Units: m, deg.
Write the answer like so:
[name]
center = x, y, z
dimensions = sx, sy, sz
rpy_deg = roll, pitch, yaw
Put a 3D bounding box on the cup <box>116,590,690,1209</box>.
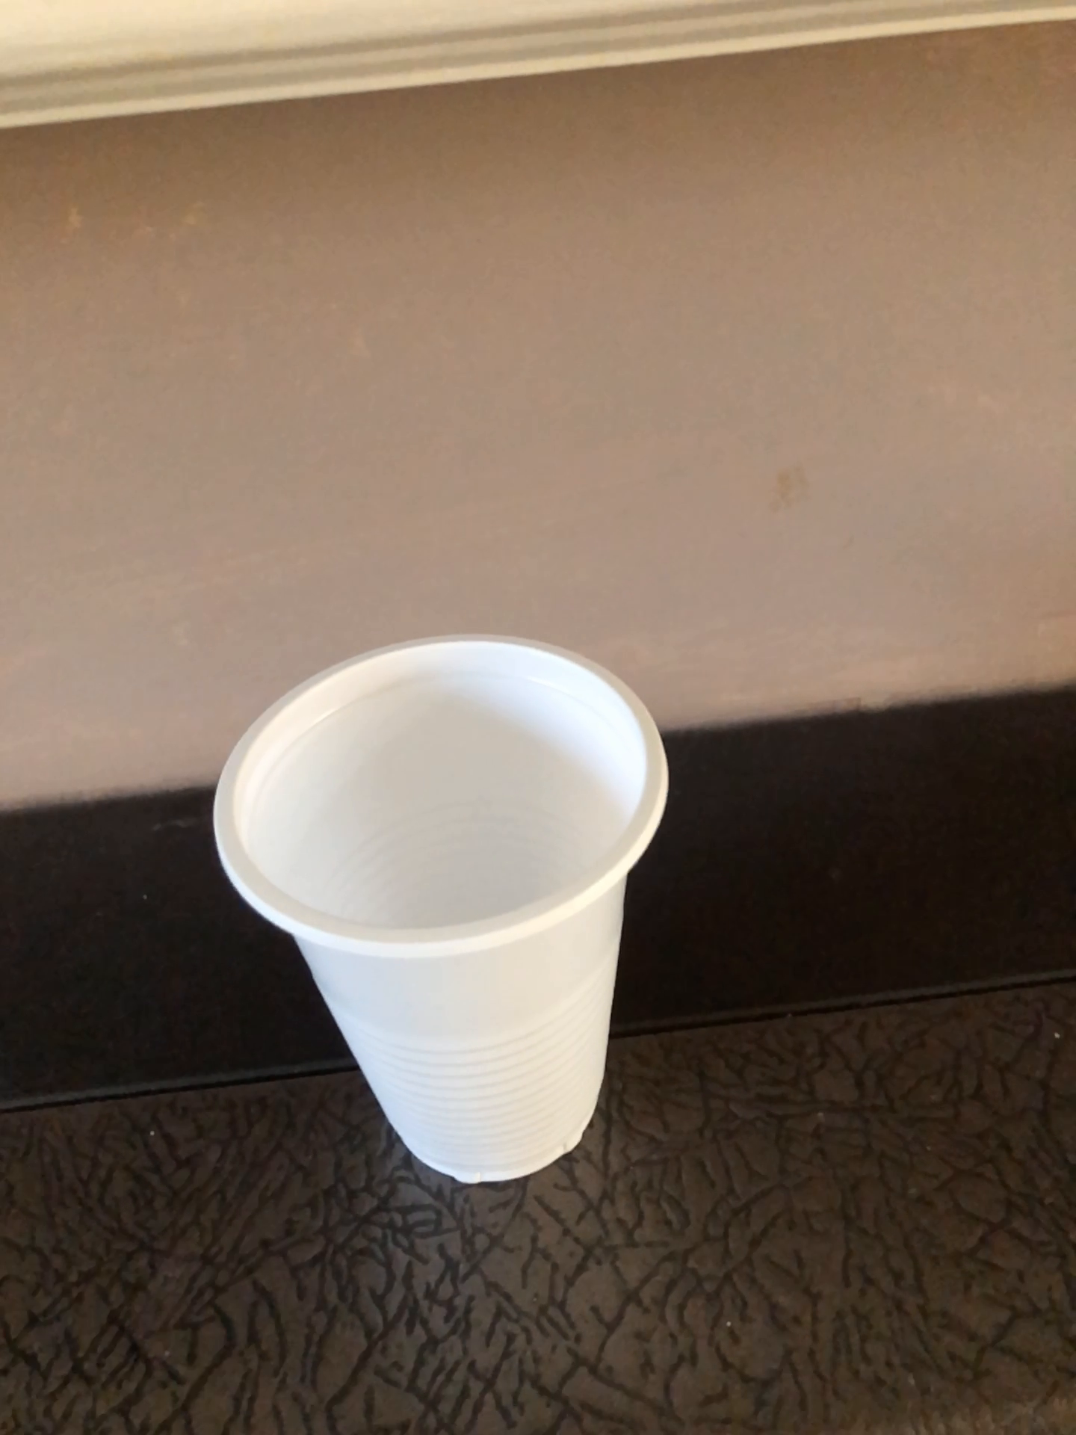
[cup]
center = -0.018, 0.032, 0.217
dimensions = 0.079, 0.073, 0.073
rpy_deg = -4, 41, 3
